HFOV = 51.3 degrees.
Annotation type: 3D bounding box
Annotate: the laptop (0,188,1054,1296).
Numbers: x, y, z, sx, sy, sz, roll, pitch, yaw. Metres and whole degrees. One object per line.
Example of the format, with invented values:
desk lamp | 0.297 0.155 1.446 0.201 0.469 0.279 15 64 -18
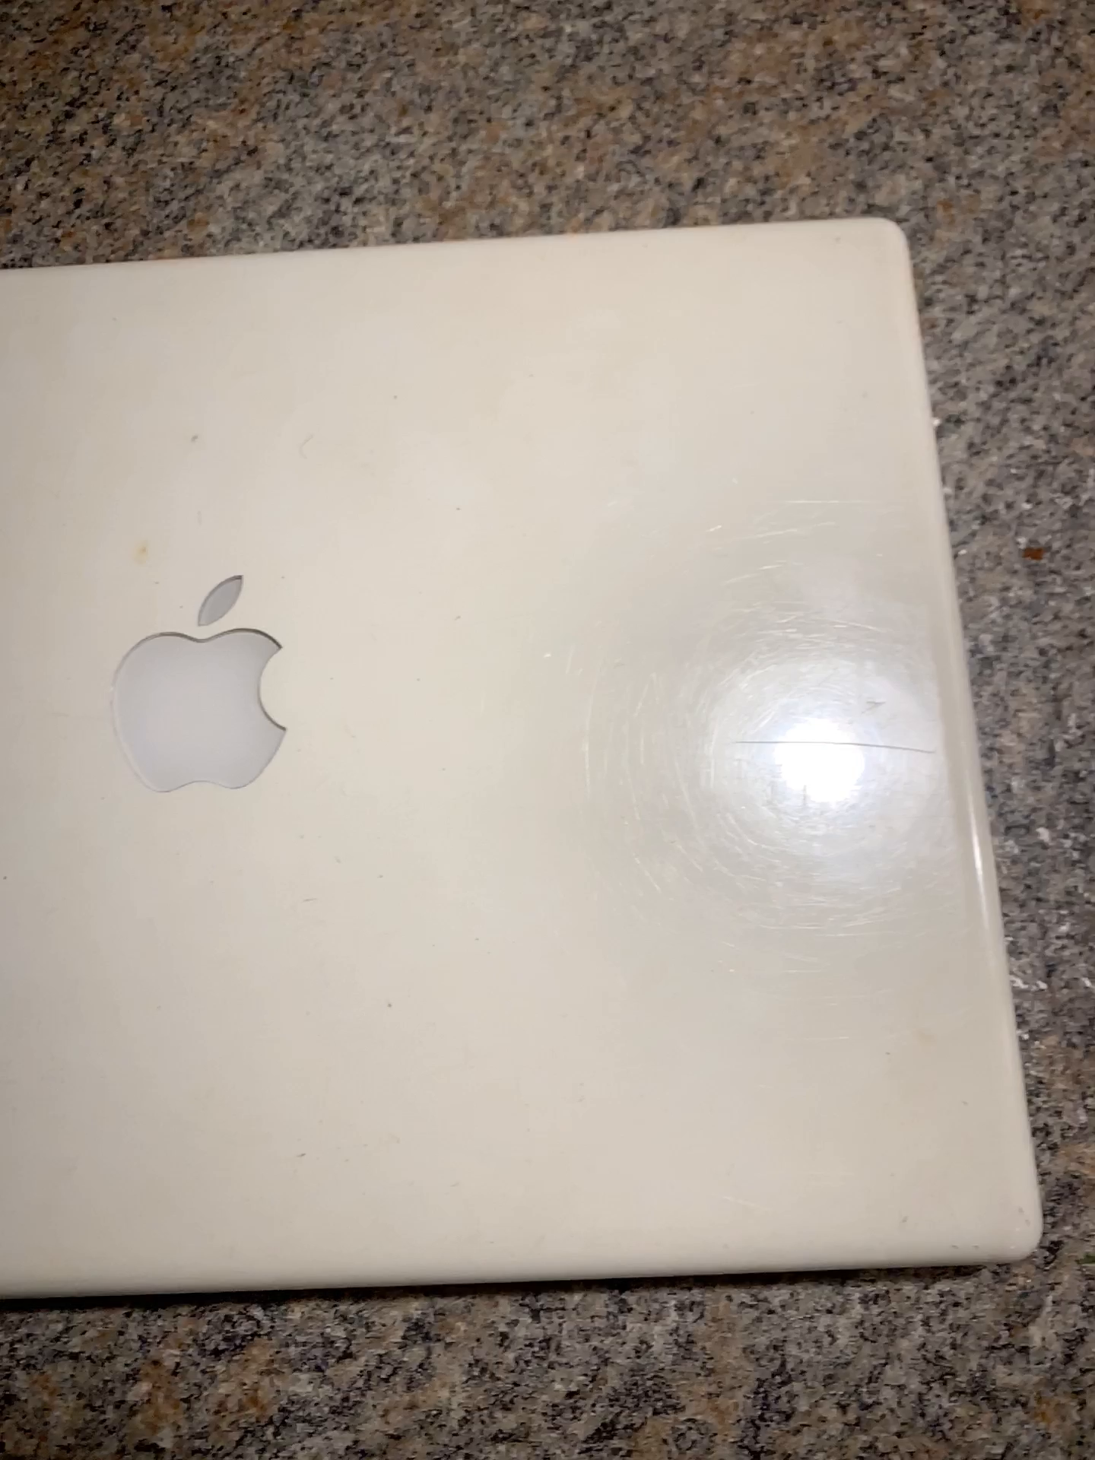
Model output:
laptop | -0.075 -0.003 0.224 0.305 0.002 0.205 -4 75 5
